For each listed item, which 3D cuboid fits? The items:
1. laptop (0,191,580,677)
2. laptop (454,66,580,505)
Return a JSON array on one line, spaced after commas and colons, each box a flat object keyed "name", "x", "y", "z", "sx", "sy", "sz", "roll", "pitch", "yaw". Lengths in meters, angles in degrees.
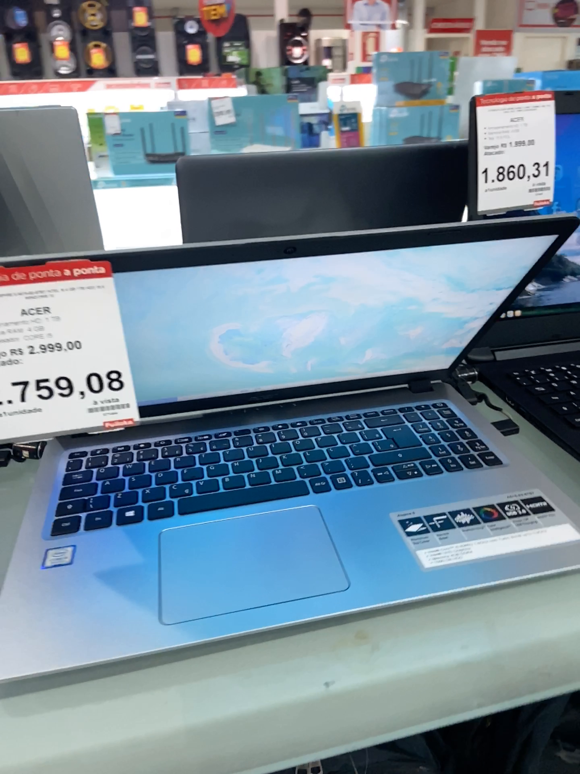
[{"name": "laptop", "x": -0.005, "y": -0.011, "z": 0.391, "sx": 0.352, "sy": 0.175, "sz": 0.237, "roll": -7, "pitch": 26, "yaw": -11}, {"name": "laptop", "x": 0.379, "y": -0.114, "z": 0.495, "sx": 0.354, "sy": 0.238, "sz": 0.289, "roll": -8, "pitch": 26, "yaw": -9}]
